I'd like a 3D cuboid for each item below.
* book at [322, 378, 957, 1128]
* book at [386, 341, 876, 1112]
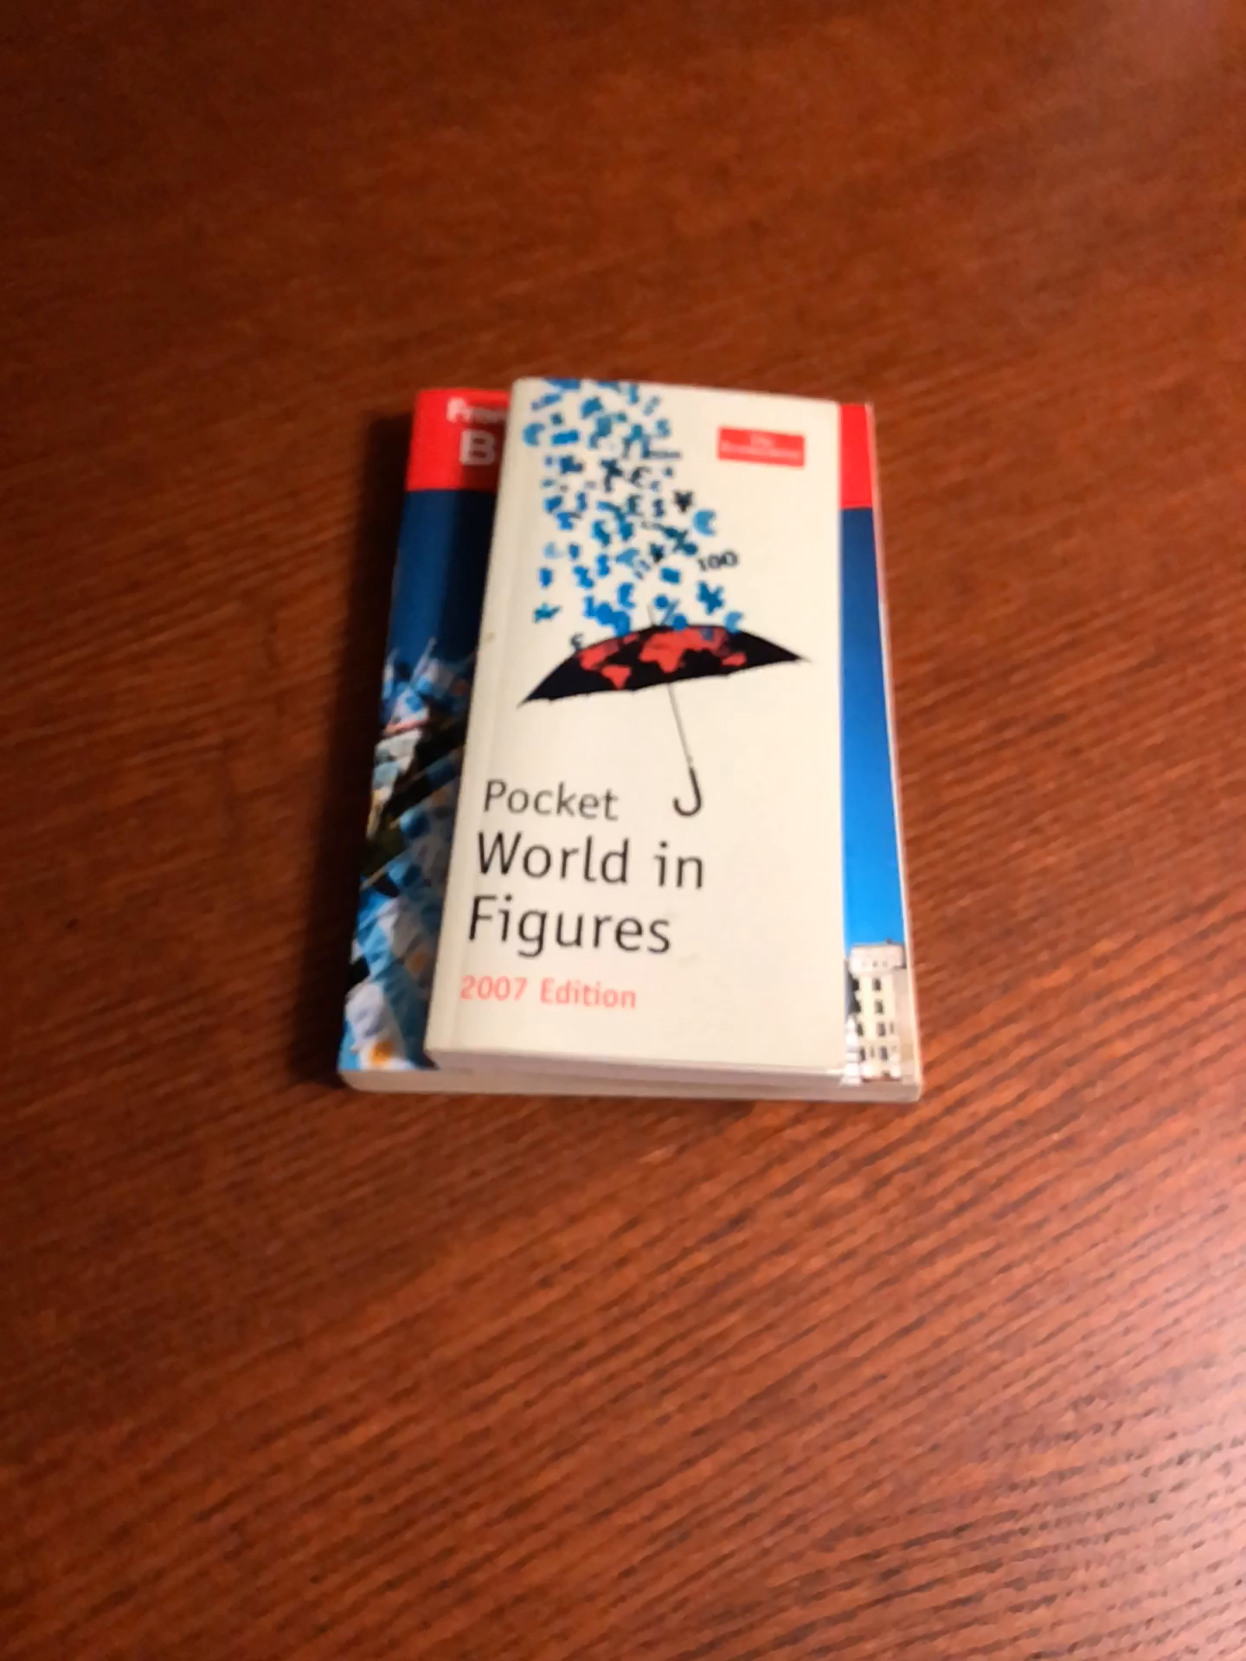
[{"bbox_3d":[0.006,-0.031,0.365,0.140,0.020,0.211,2,62,0],"label":"book"},{"bbox_3d":[0.008,-0.036,0.339,0.100,0.020,0.201,4,62,1],"label":"book"}]
